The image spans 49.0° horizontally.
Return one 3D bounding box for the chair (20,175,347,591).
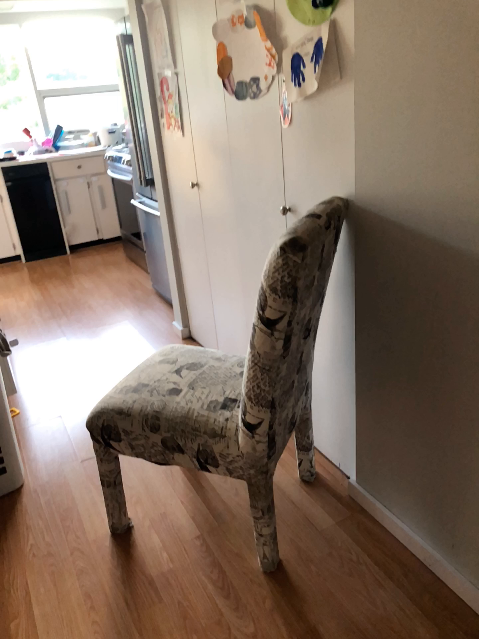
[{"bbox_3d":[-0.080,0.136,1.558,0.671,0.997,0.521,5,25,23],"label":"chair"}]
